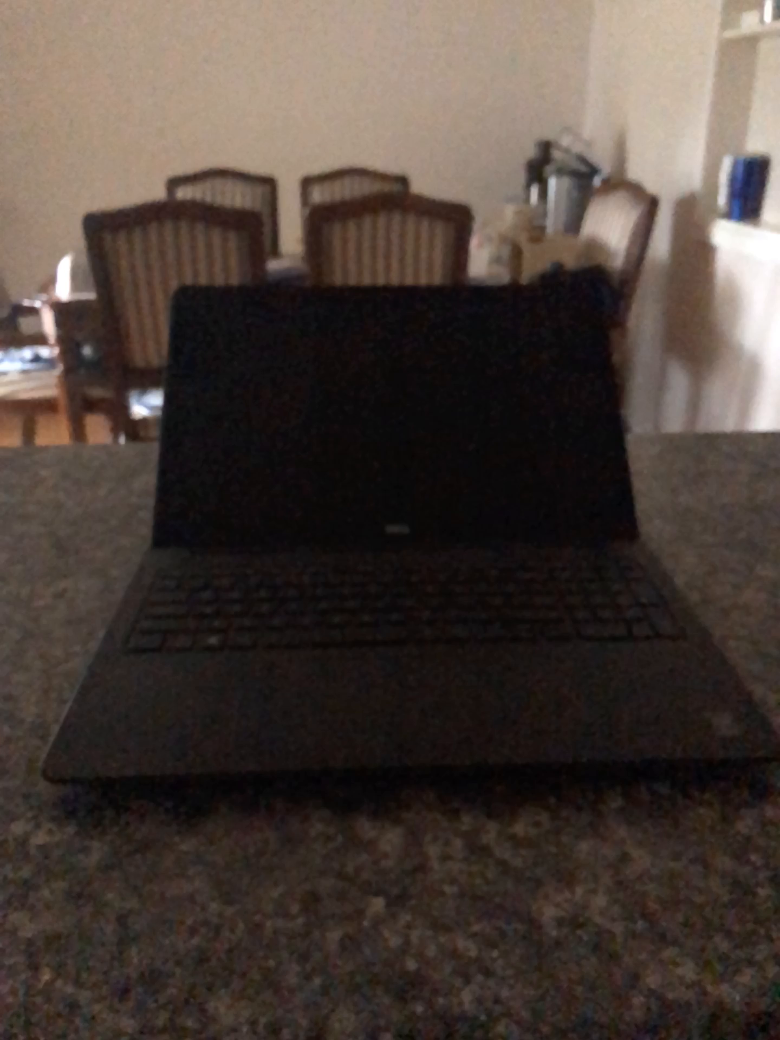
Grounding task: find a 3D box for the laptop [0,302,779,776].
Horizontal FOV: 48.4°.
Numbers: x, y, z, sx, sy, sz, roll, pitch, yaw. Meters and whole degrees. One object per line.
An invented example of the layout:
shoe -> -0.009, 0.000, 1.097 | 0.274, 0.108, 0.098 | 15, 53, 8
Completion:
laptop -> 0.009, -0.033, 0.591 | 0.361, 0.158, 0.416 | -1, 24, -2
